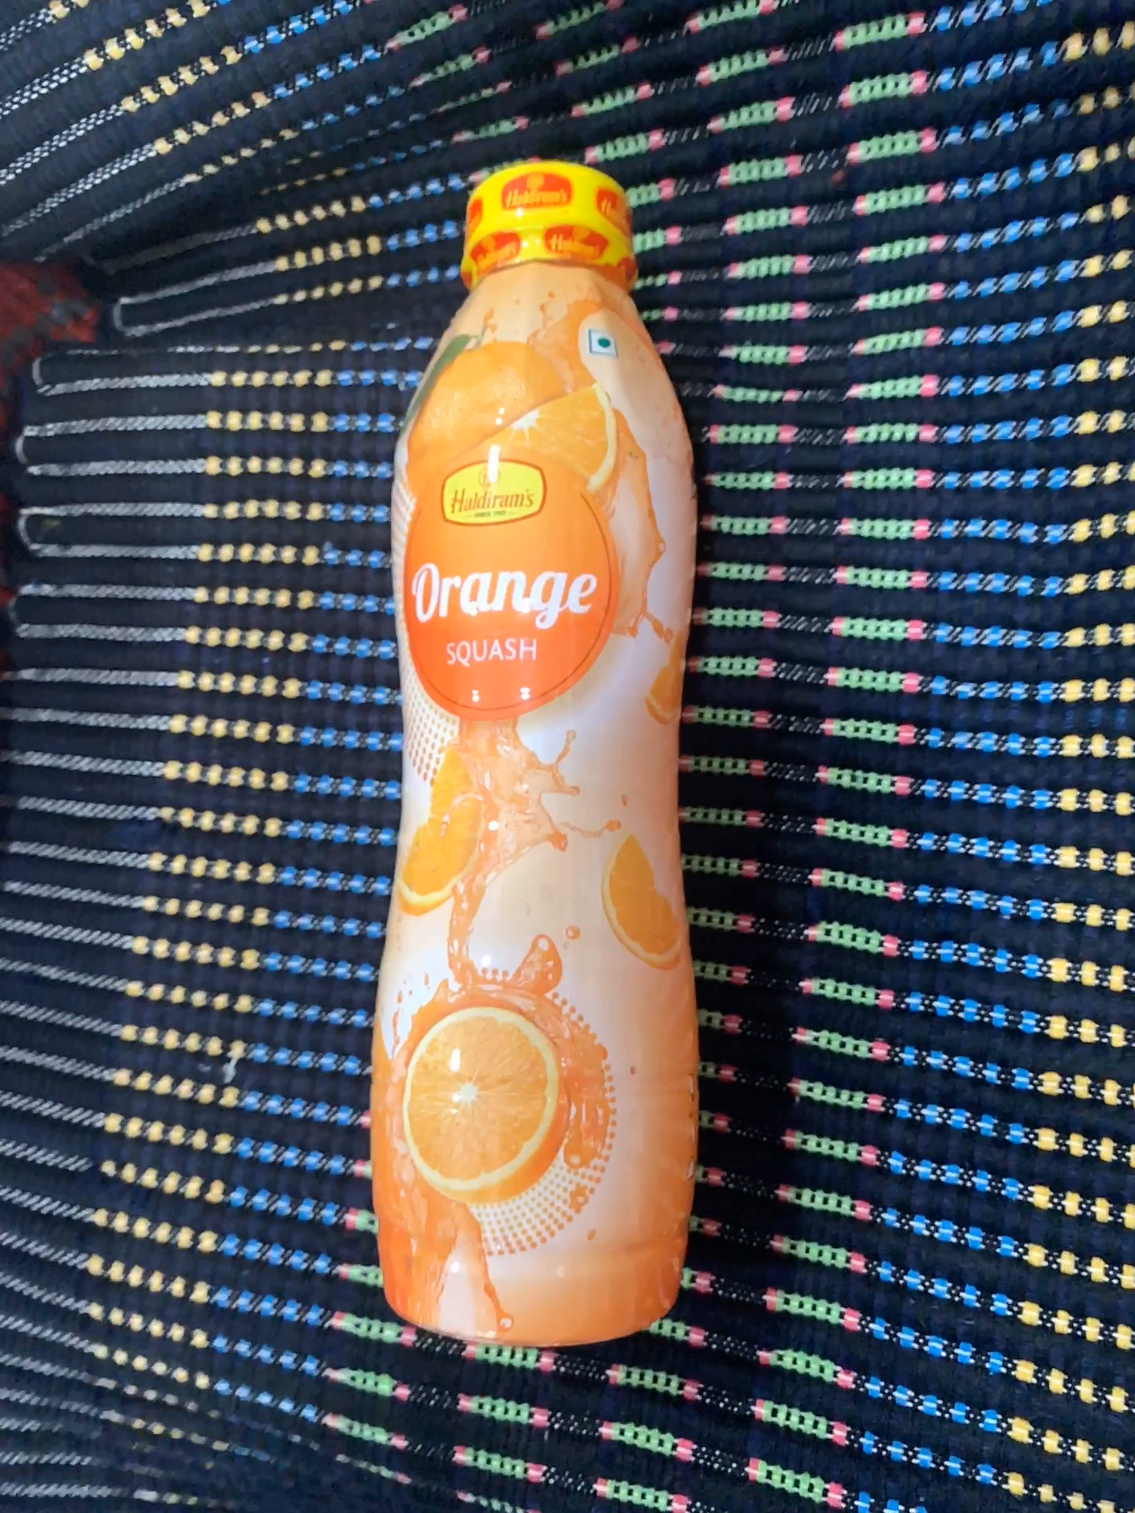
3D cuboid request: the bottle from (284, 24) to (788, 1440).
[{"bbox_3d":[0.001,-0.010,0.246,0.080,0.060,0.250,-1,81,18],"label":"bottle"}]
